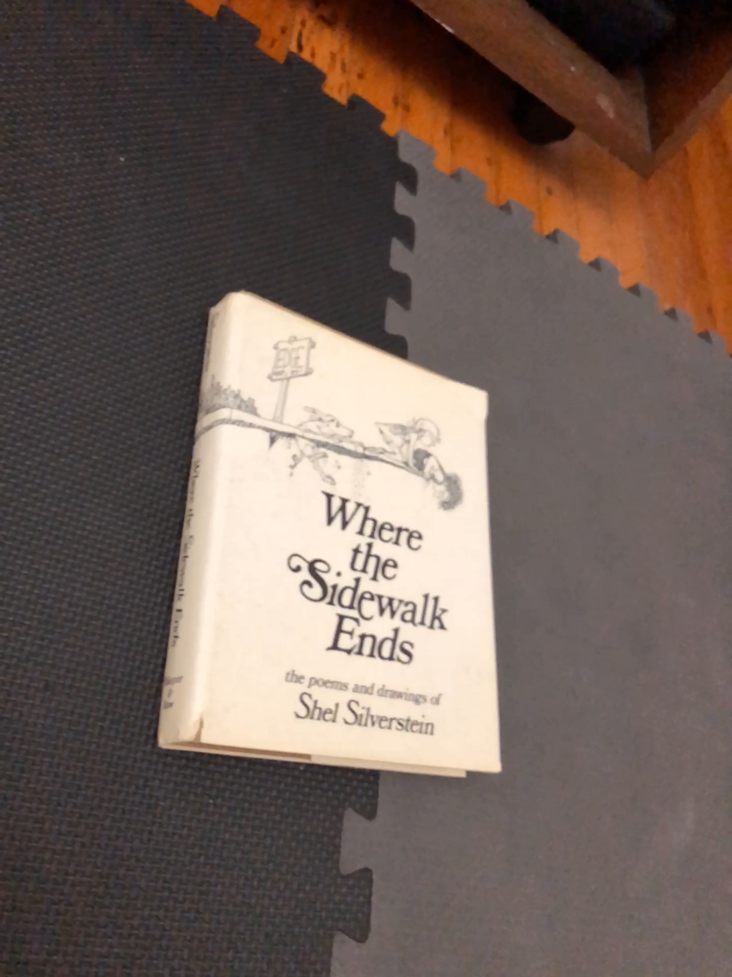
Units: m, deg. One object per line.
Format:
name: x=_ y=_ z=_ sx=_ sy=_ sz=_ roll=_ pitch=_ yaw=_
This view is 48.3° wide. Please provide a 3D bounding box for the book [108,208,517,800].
book: x=-0.011 y=0.009 z=0.435 sx=0.201 sy=0.030 sz=0.281 roll=18 pitch=60 yaw=-30
